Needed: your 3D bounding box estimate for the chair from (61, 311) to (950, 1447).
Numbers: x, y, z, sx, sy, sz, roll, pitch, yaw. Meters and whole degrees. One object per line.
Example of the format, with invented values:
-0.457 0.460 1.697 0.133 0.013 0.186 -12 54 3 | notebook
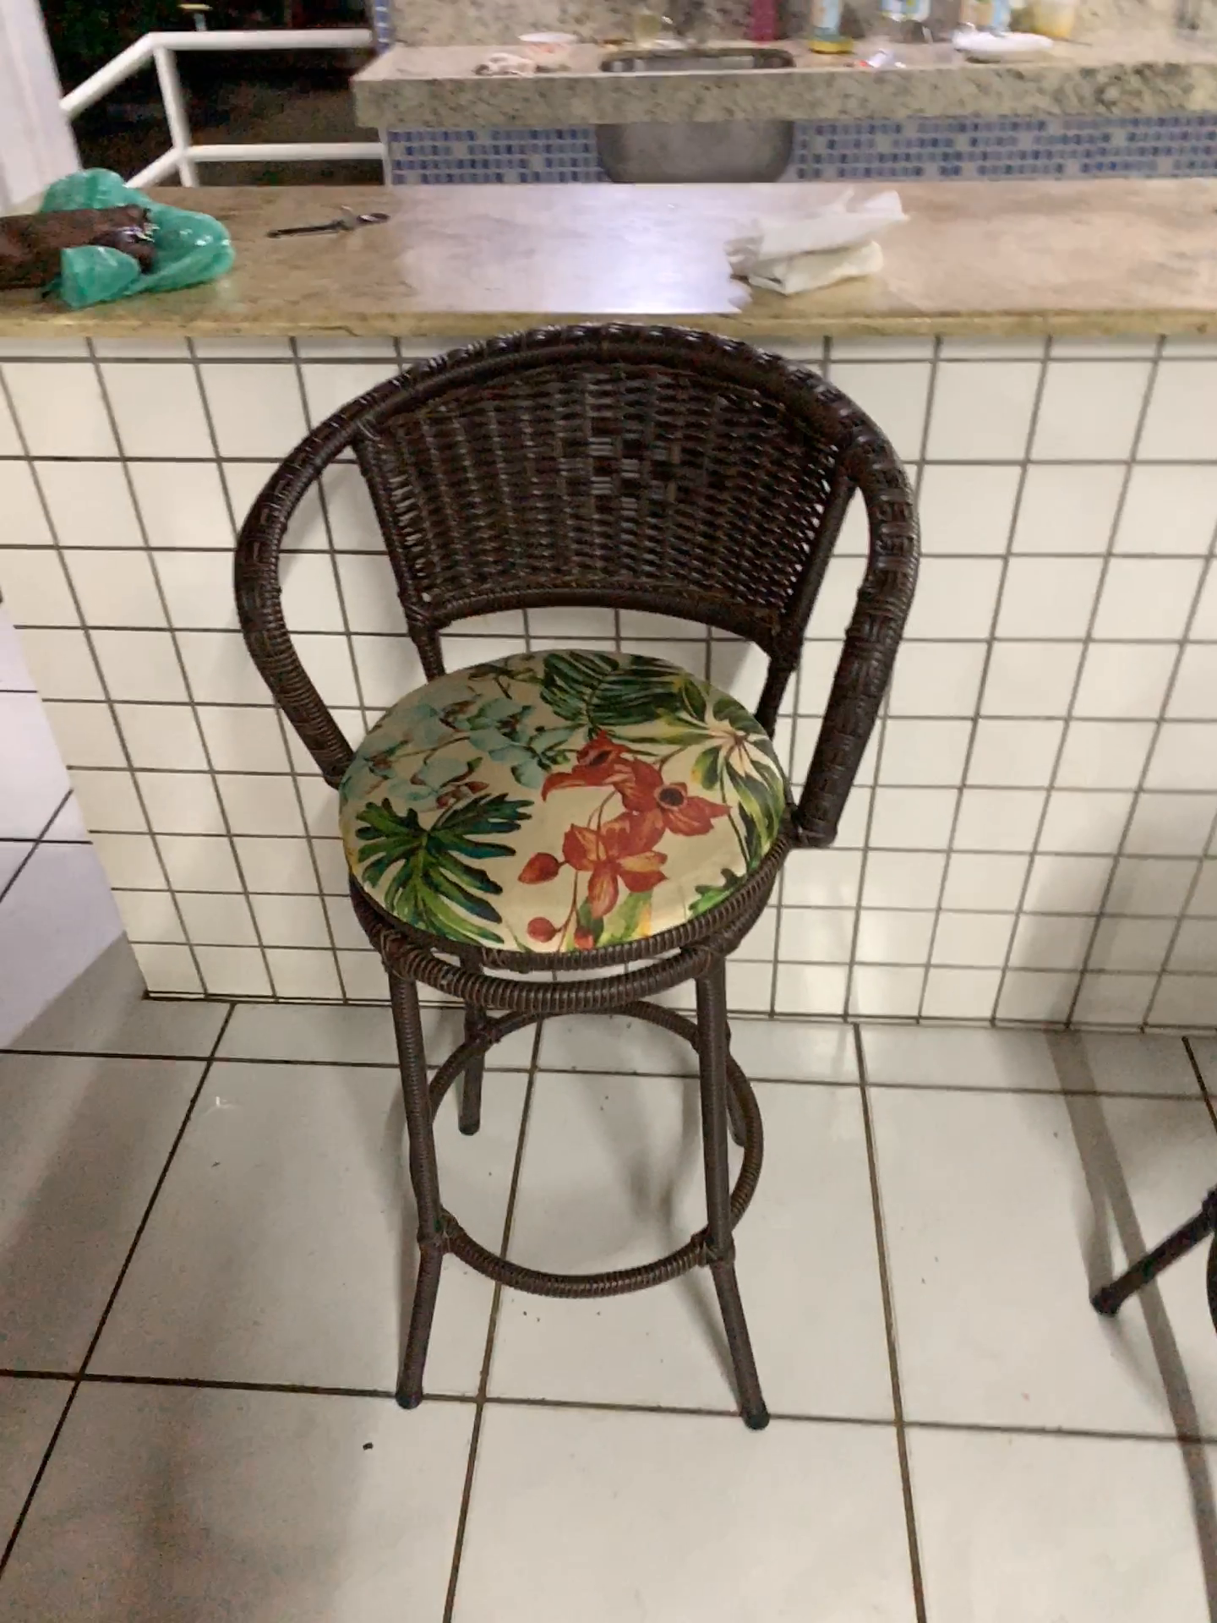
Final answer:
-0.034 0.103 1.202 0.500 0.975 0.533 1 38 4 | chair
